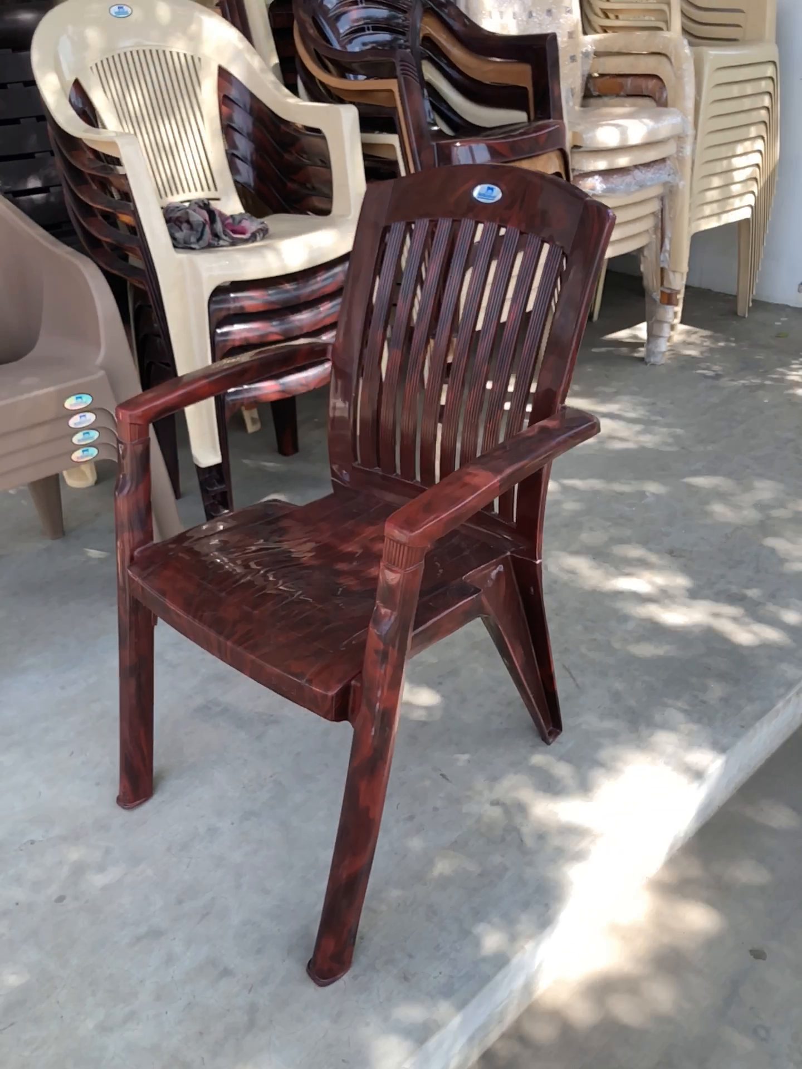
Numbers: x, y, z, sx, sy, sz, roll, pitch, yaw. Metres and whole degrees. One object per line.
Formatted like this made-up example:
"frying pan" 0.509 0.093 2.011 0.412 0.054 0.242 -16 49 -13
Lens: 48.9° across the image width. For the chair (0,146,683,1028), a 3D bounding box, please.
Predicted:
"chair" -0.094 -0.020 1.228 0.610 0.856 0.693 21 38 36
